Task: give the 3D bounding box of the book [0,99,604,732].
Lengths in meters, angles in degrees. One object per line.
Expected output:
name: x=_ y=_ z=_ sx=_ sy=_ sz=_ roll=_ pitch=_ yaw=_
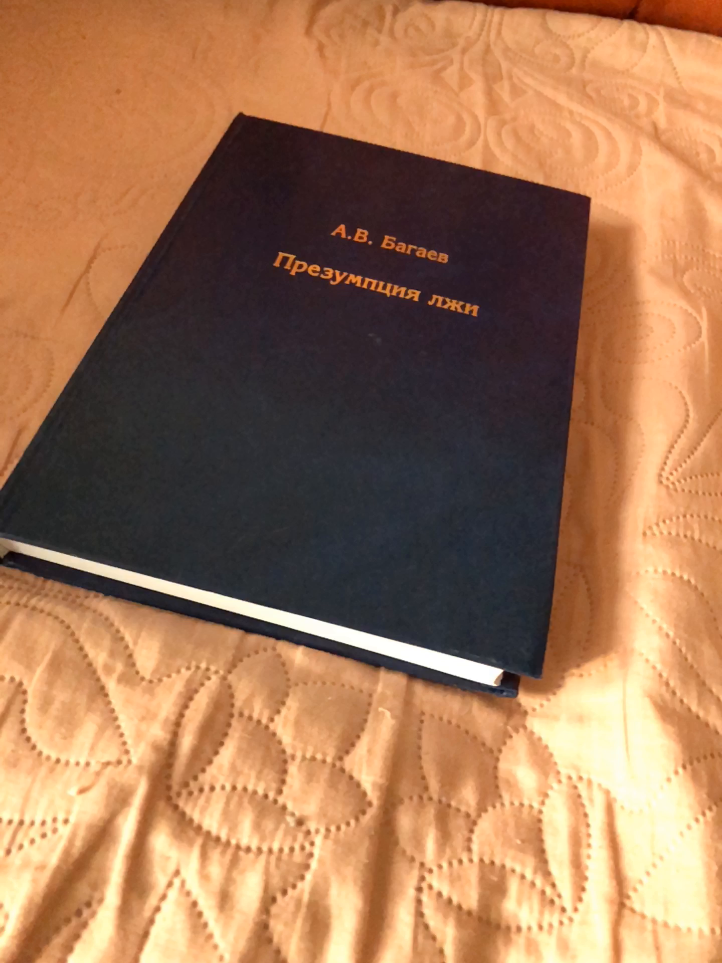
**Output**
book: x=-0.003 y=-0.054 z=0.320 sx=0.180 sy=0.030 sz=0.262 roll=14 pitch=54 yaw=3
